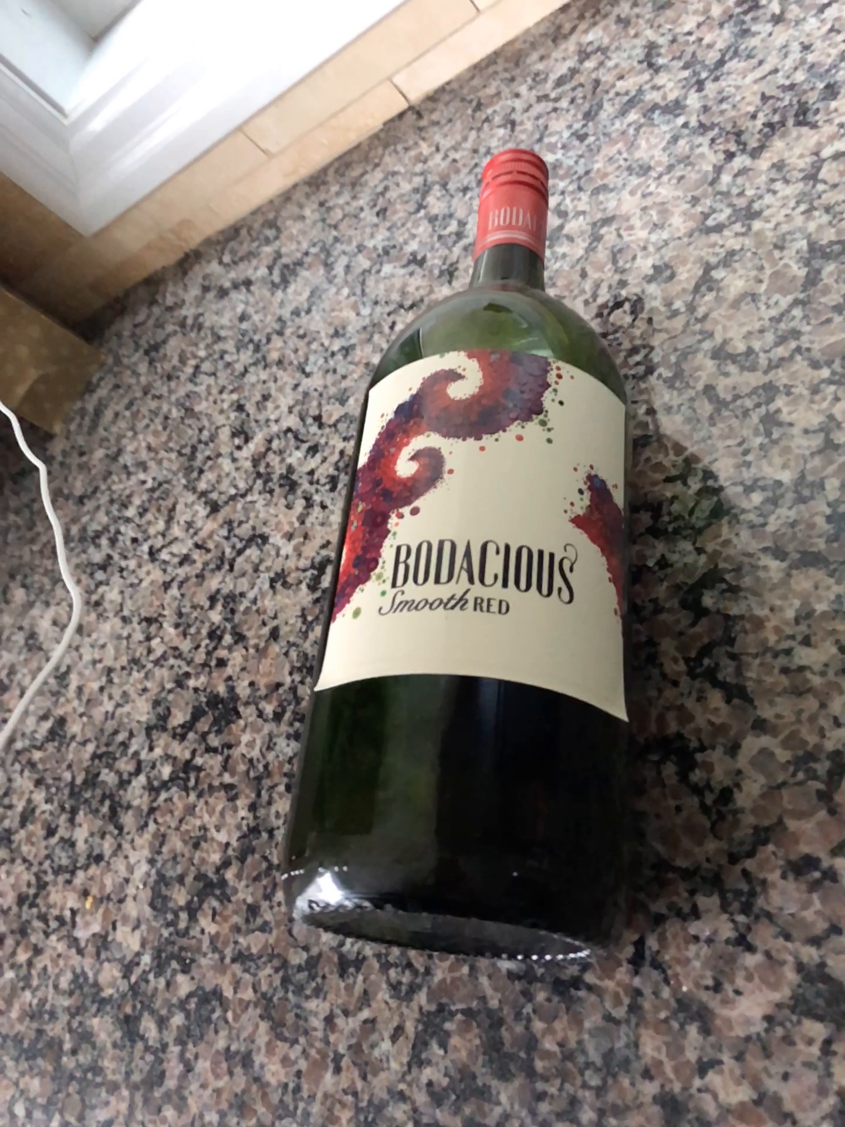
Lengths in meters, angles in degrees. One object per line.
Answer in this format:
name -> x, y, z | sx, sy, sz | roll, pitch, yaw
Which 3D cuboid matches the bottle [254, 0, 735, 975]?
bottle -> 0.029, -0.045, 0.342 | 0.100, 0.110, 0.340 | 116, 164, -60
